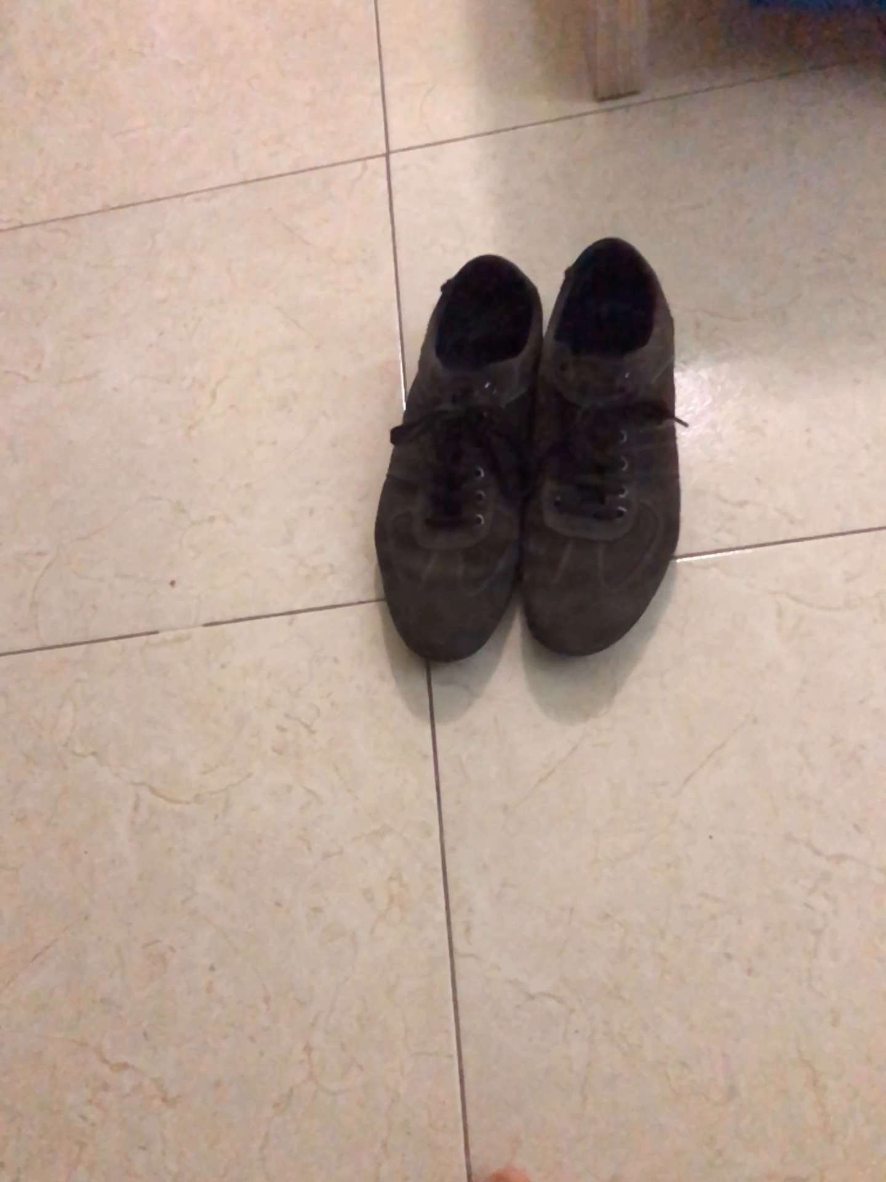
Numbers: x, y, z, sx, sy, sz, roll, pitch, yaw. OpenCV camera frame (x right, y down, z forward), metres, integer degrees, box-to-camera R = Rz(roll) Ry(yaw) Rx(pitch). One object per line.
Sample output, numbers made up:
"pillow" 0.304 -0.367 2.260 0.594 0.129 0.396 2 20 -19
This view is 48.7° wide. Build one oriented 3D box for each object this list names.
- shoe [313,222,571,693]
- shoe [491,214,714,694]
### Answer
"shoe" 0.012 -0.095 0.668 0.120 0.110 0.300 3 66 12
"shoe" 0.113 -0.096 0.654 0.110 0.110 0.300 4 66 13
